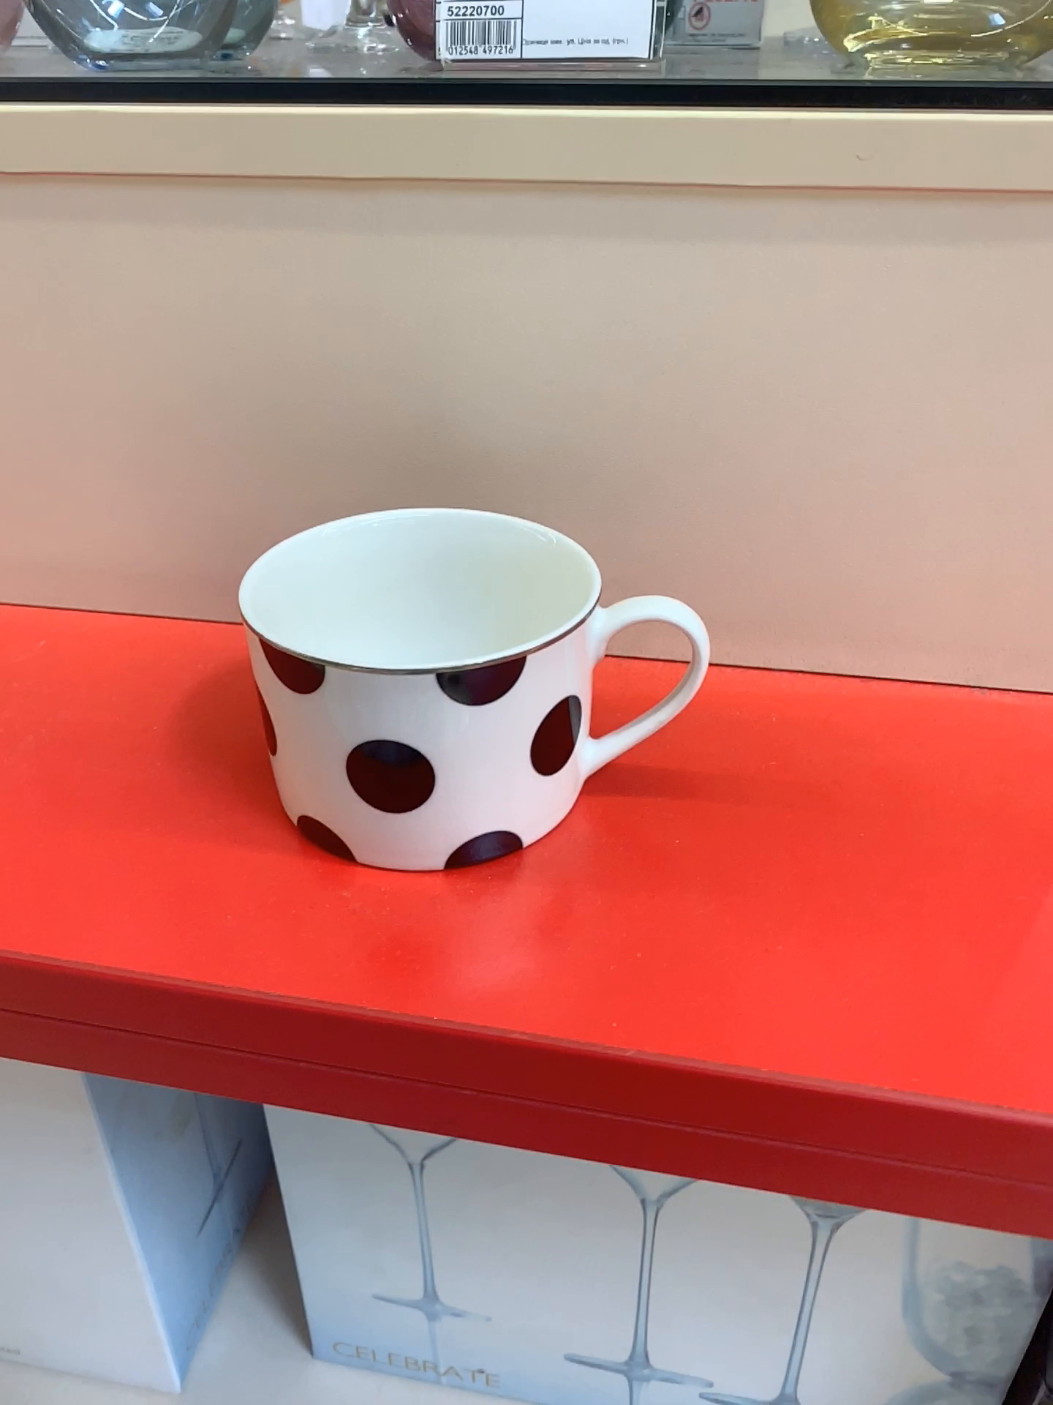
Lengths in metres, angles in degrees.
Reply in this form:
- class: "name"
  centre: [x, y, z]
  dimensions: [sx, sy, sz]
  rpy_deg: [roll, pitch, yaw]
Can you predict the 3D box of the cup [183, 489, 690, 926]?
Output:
- class: "cup"
  centre: [-0.014, -0.003, 0.265]
  dimensions: [0.100, 0.070, 0.080]
  rpy_deg: [2, 32, 5]
